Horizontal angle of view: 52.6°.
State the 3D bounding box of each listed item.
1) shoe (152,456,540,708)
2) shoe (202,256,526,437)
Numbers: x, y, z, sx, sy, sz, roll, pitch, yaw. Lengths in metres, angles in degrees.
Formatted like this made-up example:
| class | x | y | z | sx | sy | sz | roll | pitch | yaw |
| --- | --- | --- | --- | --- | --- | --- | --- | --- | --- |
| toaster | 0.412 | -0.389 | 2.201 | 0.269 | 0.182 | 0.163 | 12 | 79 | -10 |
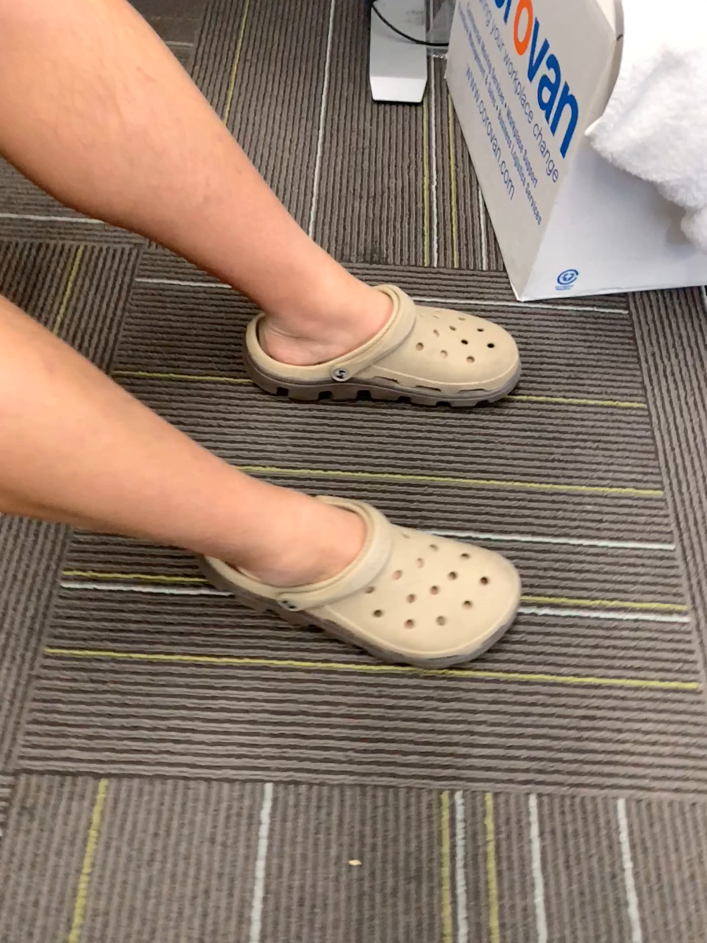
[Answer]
| class | x | y | z | sx | sy | sz | roll | pitch | yaw |
| --- | --- | --- | --- | --- | --- | --- | --- | --- | --- |
| shoe | -0.004 | 0.102 | 0.671 | 0.321 | 0.080 | 0.134 | 15 | 62 | 5 |
| shoe | 0.016 | -0.139 | 0.791 | 0.330 | 0.080 | 0.140 | 7 | 61 | 1 |
